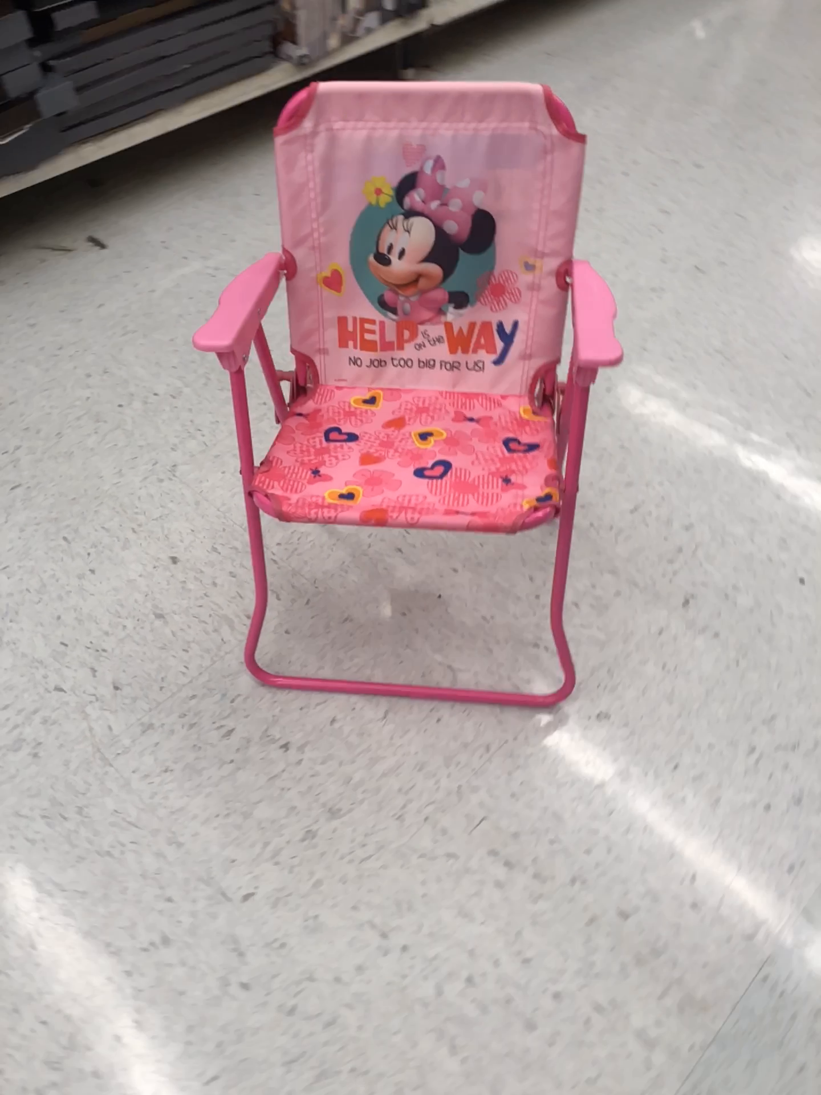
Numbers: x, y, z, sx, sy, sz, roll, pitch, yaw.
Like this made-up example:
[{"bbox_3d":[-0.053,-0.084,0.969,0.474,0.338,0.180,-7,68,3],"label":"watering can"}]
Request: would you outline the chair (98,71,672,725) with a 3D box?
[{"bbox_3d":[0.003,-0.123,0.857,0.360,0.488,0.341,4,48,5],"label":"chair"}]
